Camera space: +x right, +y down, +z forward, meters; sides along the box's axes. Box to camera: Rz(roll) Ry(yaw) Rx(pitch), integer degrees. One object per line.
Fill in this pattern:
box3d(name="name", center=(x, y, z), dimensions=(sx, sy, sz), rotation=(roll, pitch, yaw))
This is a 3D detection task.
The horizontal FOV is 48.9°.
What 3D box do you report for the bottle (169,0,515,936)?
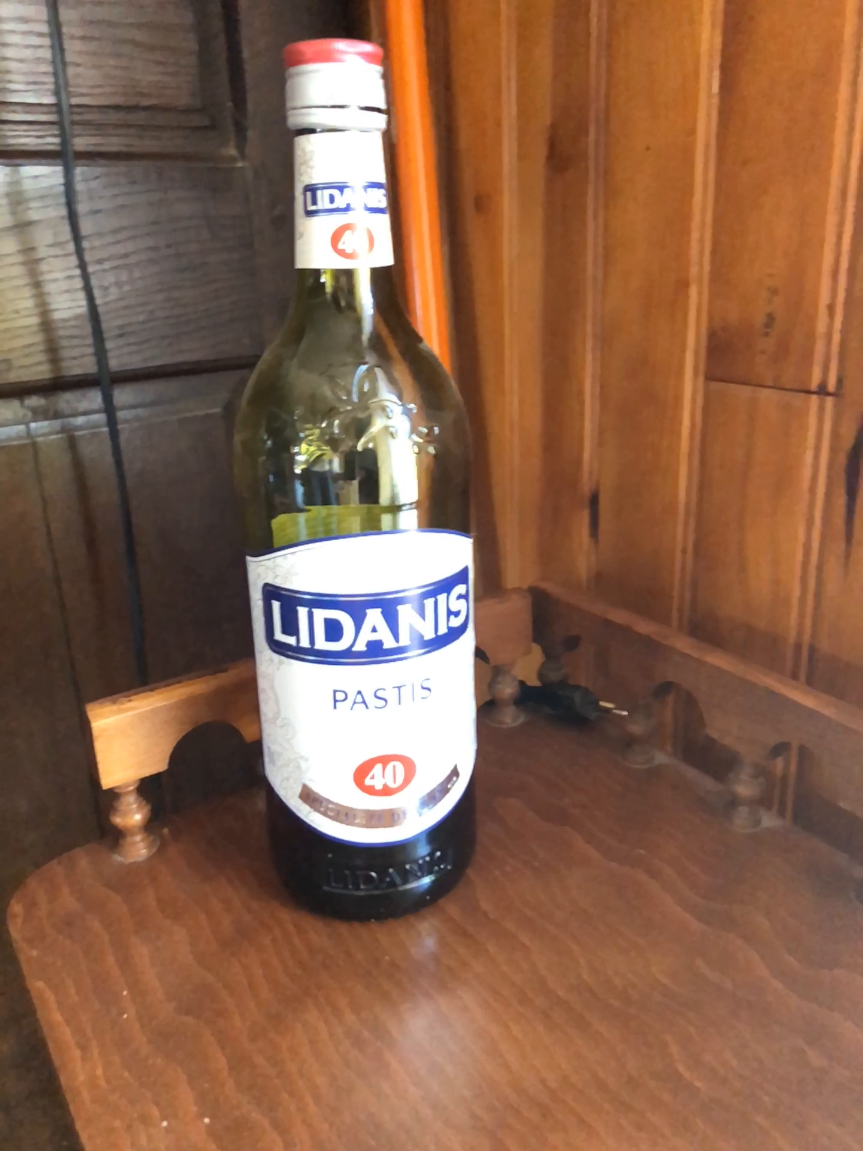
box3d(name="bottle", center=(-0.027, -0.030, 0.336), dimensions=(0.090, 0.299, 0.080), rotation=(-7, 20, -12))
